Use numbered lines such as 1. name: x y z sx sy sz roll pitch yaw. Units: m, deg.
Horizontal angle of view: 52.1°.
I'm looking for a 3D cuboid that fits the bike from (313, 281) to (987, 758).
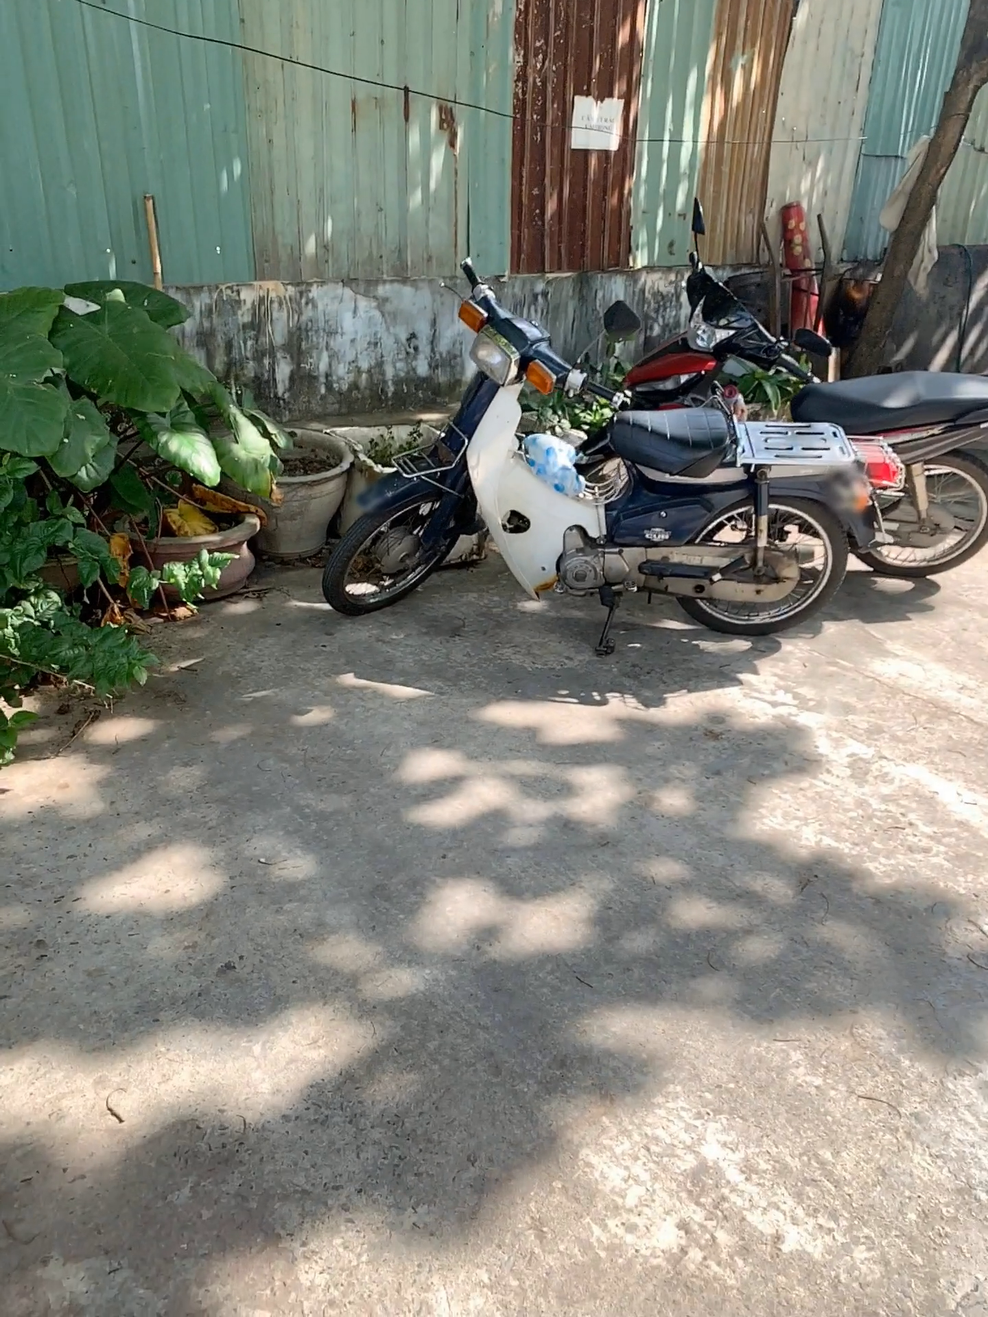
1. bike: 0.295 -0.401 2.672 1.474 1.024 0.656 -2 26 -6
